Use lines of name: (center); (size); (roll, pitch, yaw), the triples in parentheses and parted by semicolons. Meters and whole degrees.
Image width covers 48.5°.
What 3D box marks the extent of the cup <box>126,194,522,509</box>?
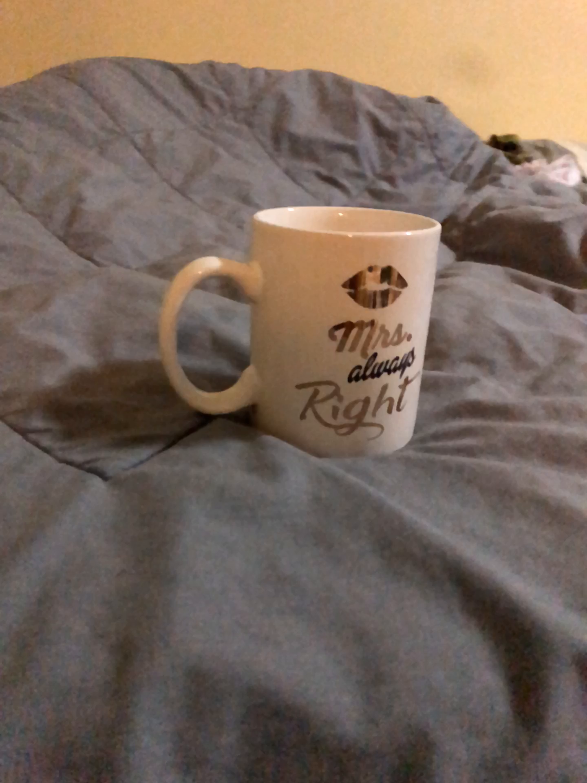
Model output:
cup: (0.003, -0.030, 0.316); (0.150, 0.110, 0.110); (-5, 25, -18)
